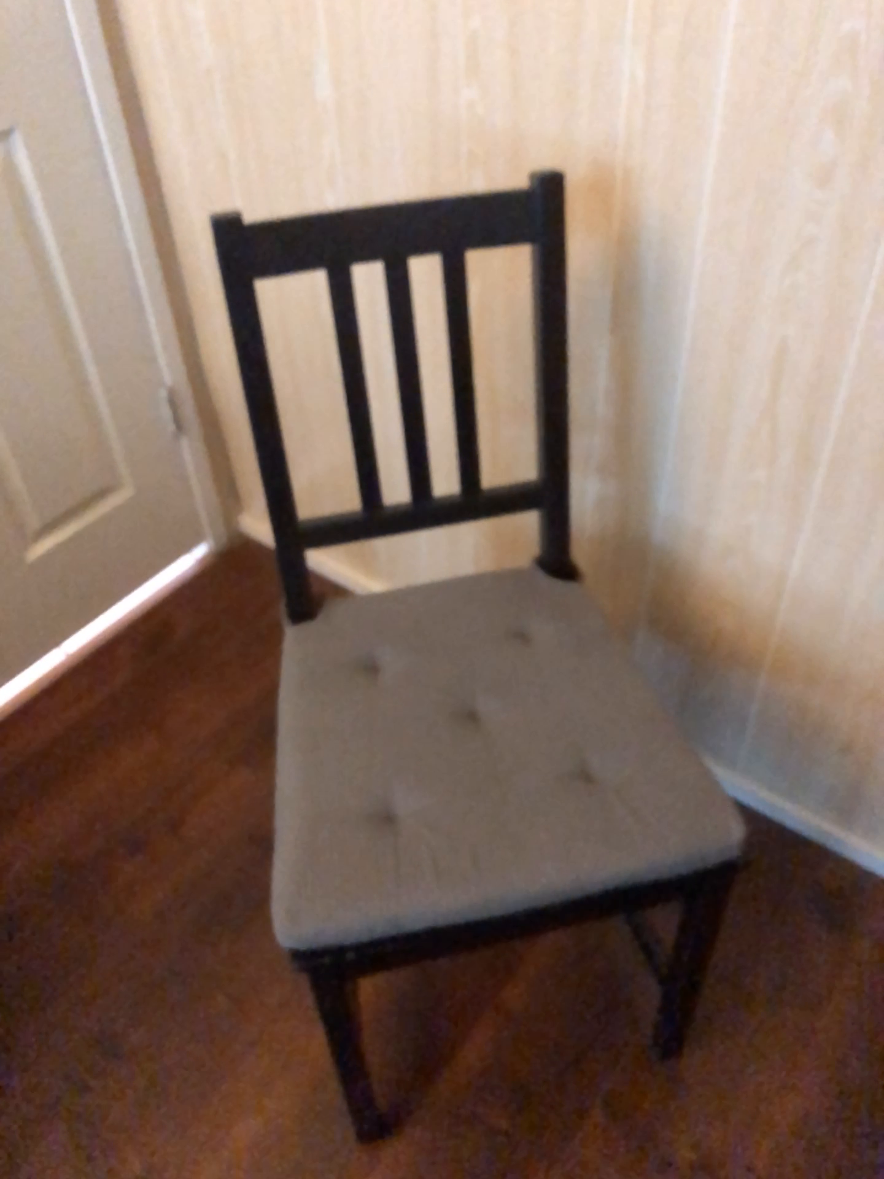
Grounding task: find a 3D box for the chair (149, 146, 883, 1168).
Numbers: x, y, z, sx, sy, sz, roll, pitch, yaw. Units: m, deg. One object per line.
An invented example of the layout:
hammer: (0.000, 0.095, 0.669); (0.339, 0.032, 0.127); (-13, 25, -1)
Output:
chair: (0.035, 0.105, 0.977); (0.440, 0.834, 0.514); (-10, 44, -8)
